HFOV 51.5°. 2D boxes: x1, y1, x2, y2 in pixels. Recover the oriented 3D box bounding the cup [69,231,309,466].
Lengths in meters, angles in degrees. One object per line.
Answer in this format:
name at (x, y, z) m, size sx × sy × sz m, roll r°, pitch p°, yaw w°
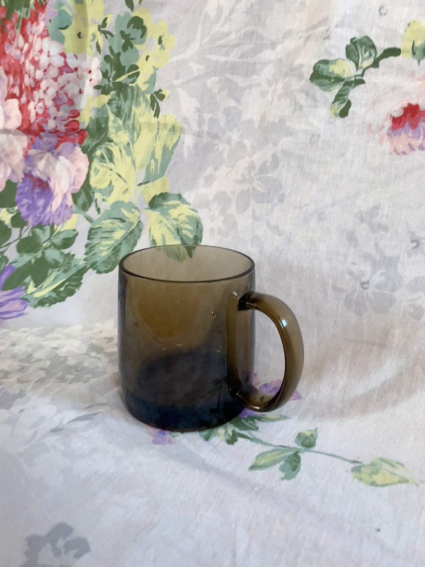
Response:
cup at (-0.012, 0.028, 0.278) m, size 0.119 × 0.099 × 0.082 m, roll 9°, pitch 20°, yaw 29°
